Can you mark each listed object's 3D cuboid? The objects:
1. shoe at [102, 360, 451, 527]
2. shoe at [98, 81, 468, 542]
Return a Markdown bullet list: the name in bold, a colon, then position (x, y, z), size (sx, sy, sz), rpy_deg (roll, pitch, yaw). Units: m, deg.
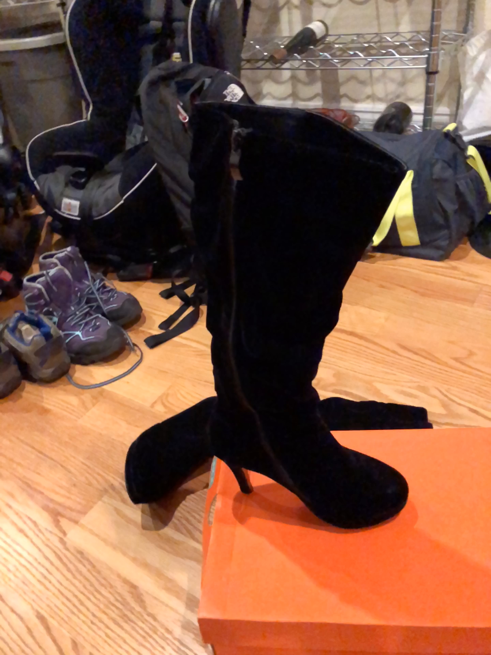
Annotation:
- **shoe**: position (0.040, 0.150, 0.725), size (0.399, 0.089, 0.207), rpy_deg (-3, 34, 7)
- **shoe**: position (0.044, 0.020, 0.463), size (0.216, 0.397, 0.090), rpy_deg (0, 36, 11)
